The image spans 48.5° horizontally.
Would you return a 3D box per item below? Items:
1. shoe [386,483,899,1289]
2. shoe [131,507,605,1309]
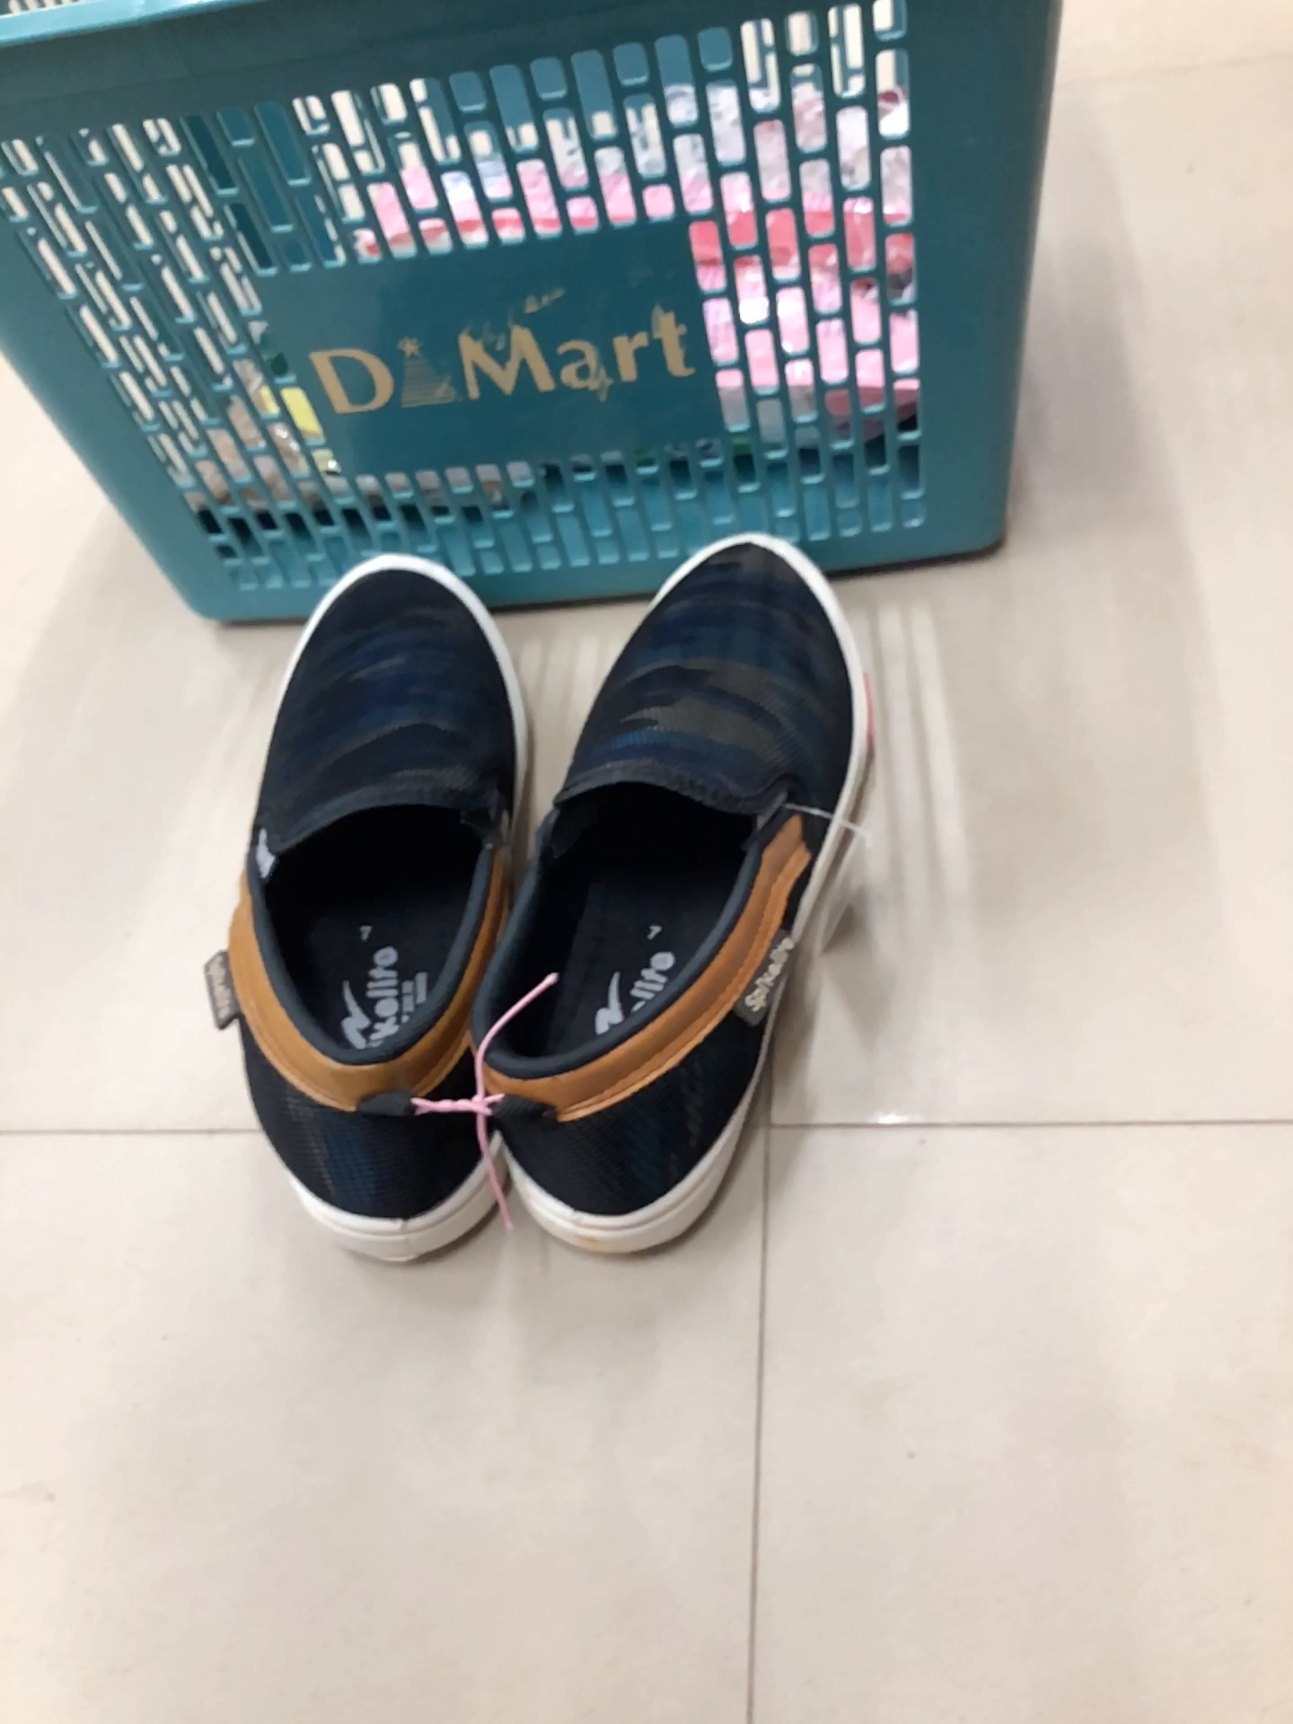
[{"bbox_3d":[0.016,-0.002,0.472,0.105,0.107,0.240,3,55,16],"label":"shoe"},{"bbox_3d":[-0.090,0.008,0.490,0.105,0.107,0.240,-13,52,4],"label":"shoe"}]
